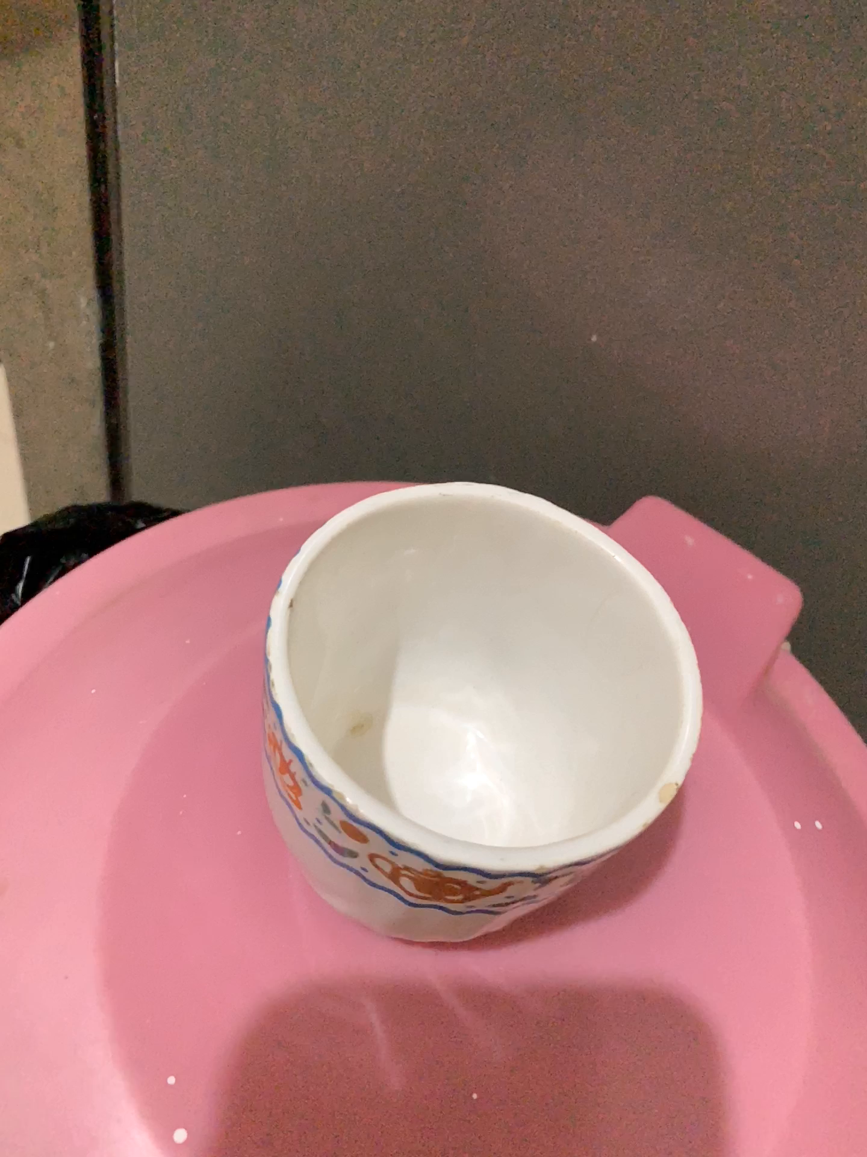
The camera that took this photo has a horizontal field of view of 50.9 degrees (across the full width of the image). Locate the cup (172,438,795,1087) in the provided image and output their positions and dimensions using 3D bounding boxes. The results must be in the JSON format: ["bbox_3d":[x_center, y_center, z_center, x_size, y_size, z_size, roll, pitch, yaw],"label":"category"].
[{"bbox_3d":[0.003,0.029,0.162,0.070,0.060,0.070,8,50,-10],"label":"cup"}]
